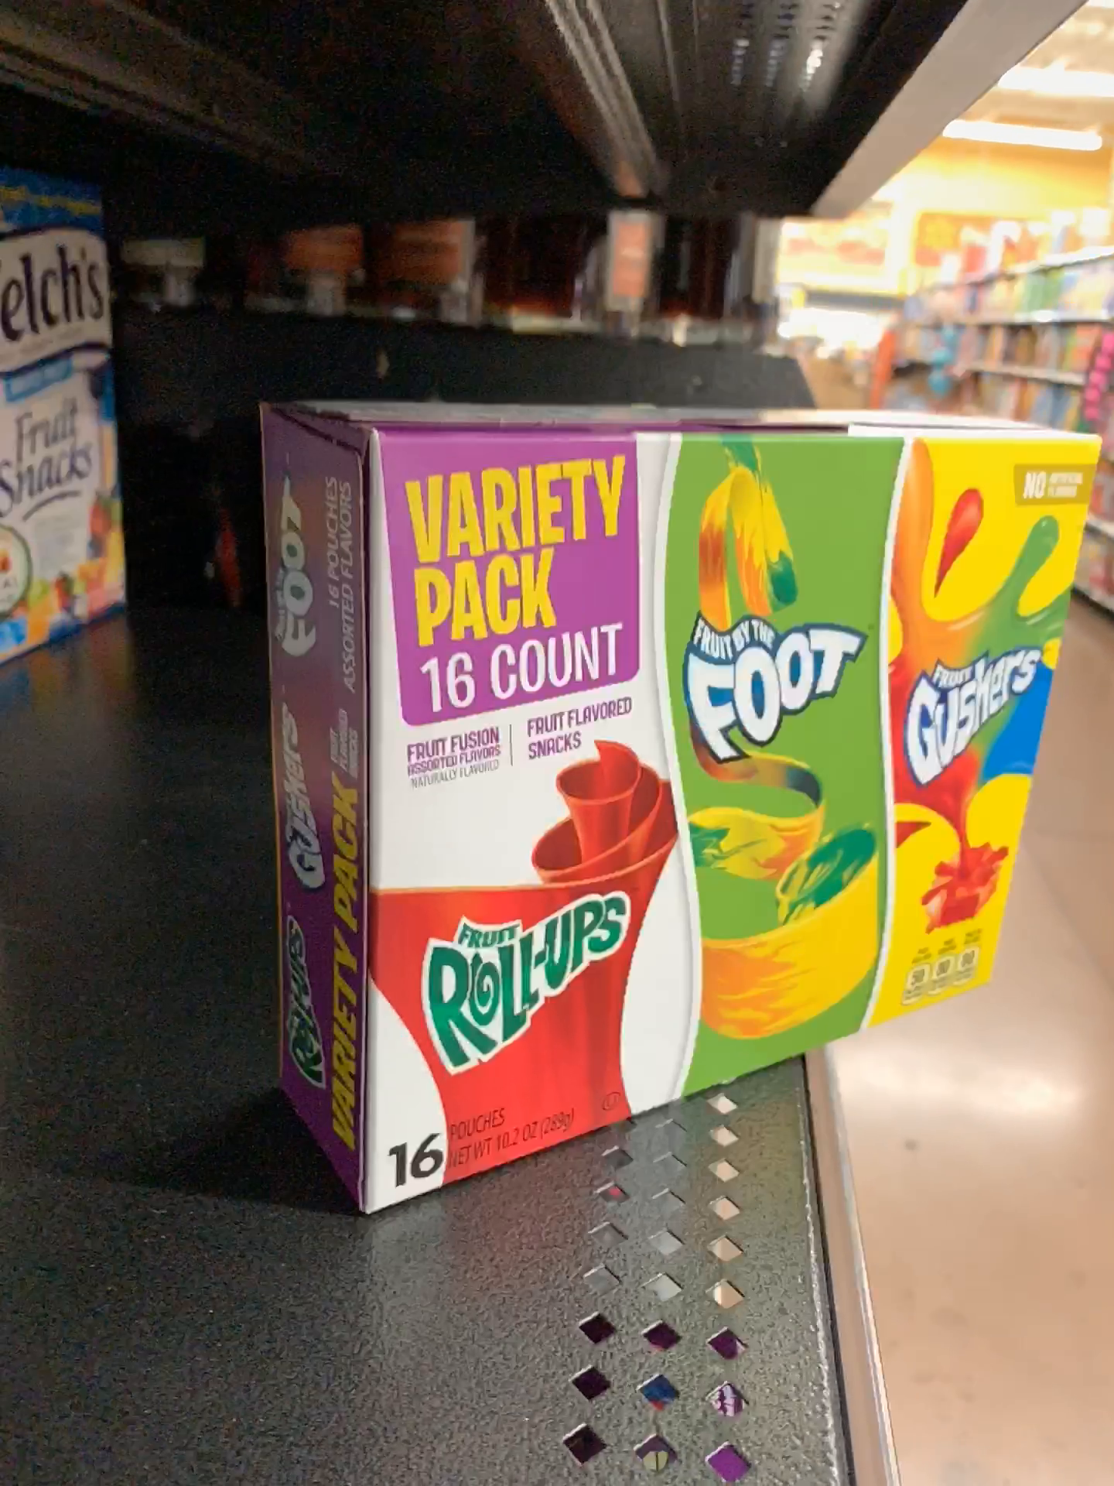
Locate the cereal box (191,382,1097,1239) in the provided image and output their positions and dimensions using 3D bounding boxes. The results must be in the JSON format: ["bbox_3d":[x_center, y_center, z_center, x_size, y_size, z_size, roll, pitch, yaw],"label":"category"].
[{"bbox_3d":[0.028,0.002,0.300,0.220,0.169,0.060,-8,23,-32],"label":"cereal box"}]
